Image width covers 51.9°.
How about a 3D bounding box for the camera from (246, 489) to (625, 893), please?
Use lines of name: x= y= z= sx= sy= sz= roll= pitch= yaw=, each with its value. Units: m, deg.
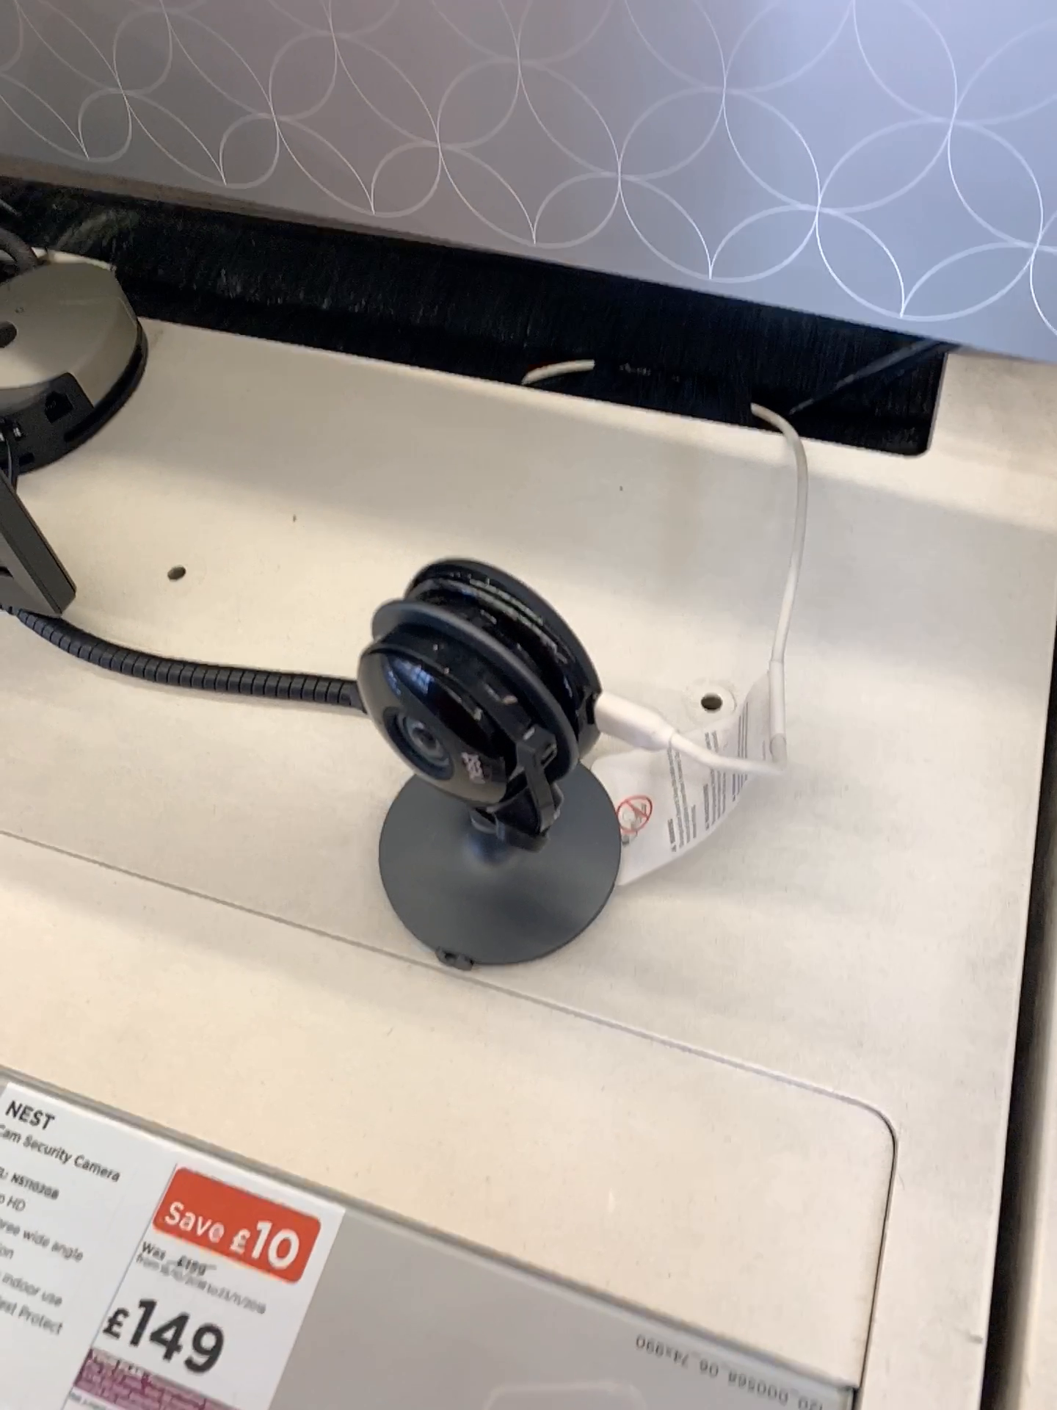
camera: x=-0.018 y=-0.003 z=0.243 sx=0.060 sy=0.050 sz=0.050 roll=31 pitch=64 yaw=22
